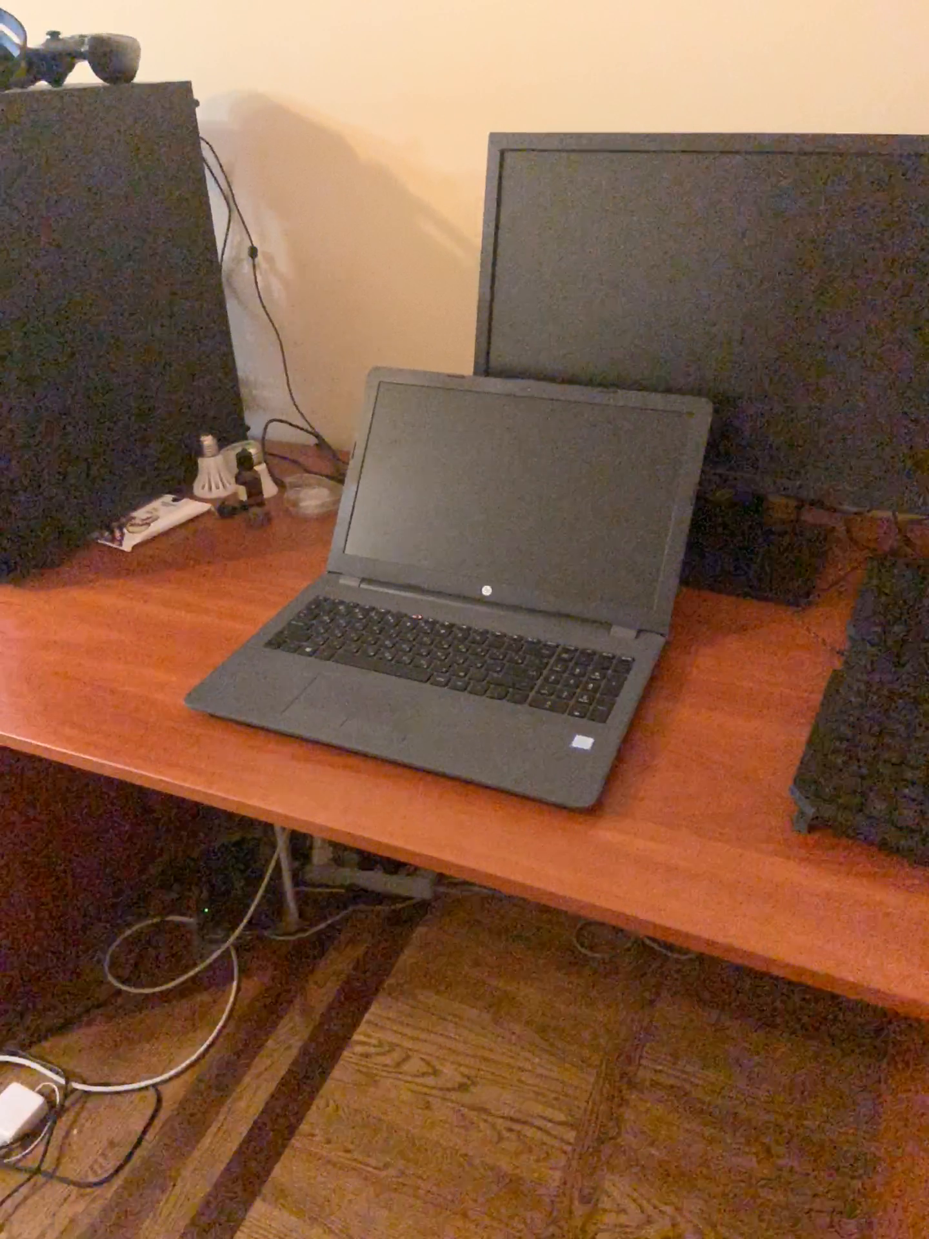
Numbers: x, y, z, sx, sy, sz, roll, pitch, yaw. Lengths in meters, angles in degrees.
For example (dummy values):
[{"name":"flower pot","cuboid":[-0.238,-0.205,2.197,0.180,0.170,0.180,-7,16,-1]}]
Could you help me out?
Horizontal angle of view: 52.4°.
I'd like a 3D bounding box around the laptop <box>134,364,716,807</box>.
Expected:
[{"name":"laptop","cuboid":[-0.003,-0.071,0.862,0.372,0.188,0.393,11,33,20]}]
